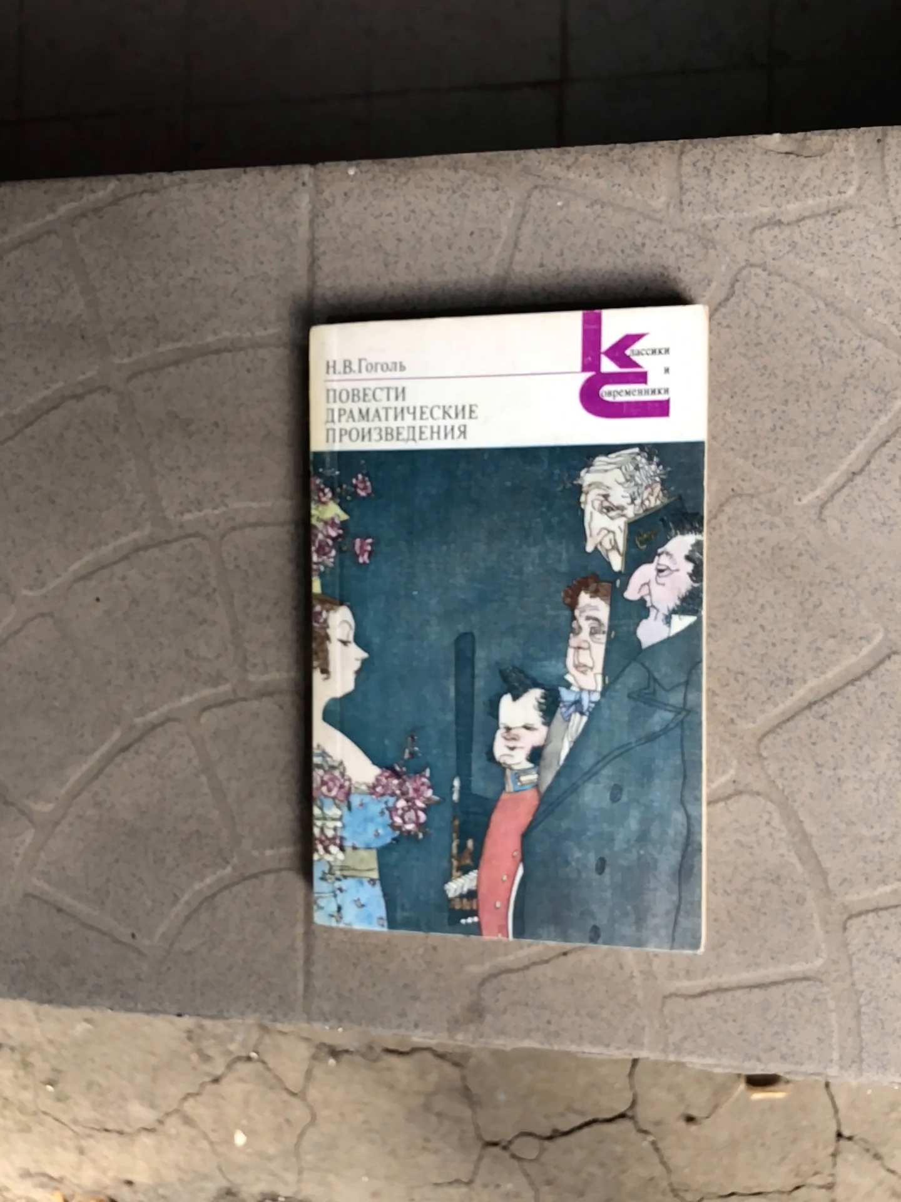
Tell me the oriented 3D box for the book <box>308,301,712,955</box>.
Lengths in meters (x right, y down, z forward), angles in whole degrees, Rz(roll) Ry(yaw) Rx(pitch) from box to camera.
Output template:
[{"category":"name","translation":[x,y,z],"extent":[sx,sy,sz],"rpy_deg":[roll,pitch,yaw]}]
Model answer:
[{"category":"book","translation":[0.017,0.008,0.320],"extent":[0.123,0.021,0.193],"rpy_deg":[1,93,12]}]
